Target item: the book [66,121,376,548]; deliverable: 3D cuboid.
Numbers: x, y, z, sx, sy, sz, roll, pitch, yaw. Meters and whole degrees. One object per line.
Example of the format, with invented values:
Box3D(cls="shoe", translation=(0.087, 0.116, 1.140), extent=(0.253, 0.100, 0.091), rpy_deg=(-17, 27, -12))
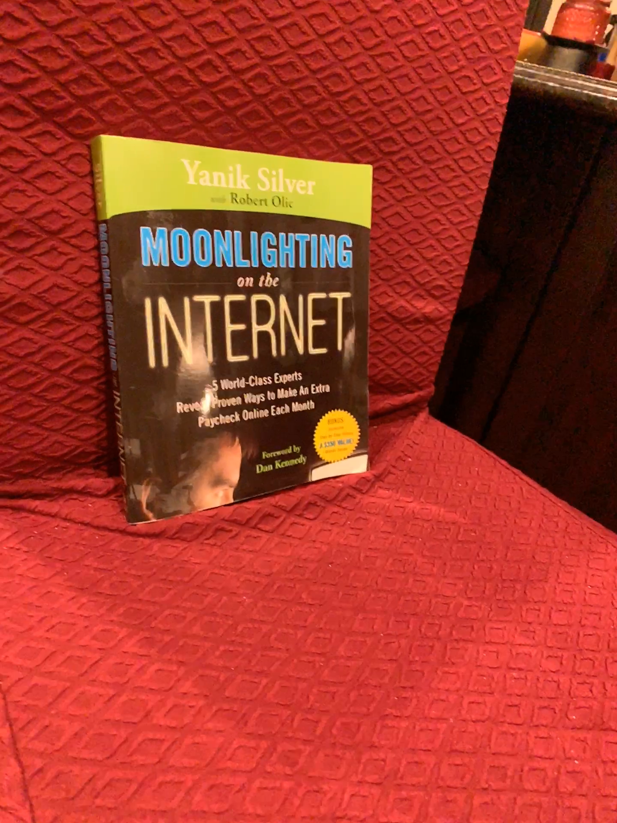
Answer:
Box3D(cls="book", translation=(-0.044, -0.053, 0.430), extent=(0.200, 0.239, 0.040), rpy_deg=(-9, 14, -34))
